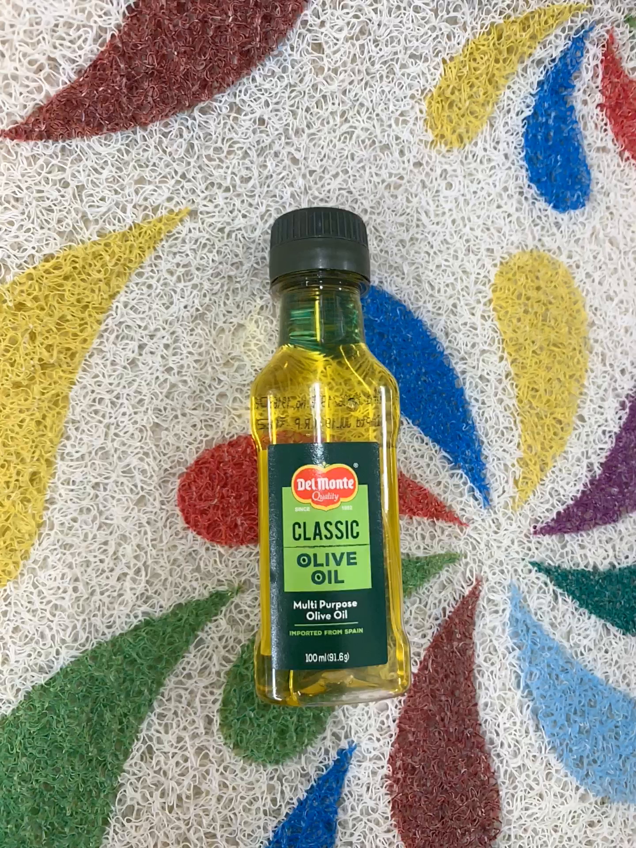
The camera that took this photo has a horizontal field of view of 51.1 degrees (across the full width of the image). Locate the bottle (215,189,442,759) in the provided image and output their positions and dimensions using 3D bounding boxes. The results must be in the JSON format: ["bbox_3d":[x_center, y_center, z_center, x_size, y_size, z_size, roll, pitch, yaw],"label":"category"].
[{"bbox_3d":[0.001,0.012,0.178,0.050,0.040,0.130,1,89,-15],"label":"bottle"}]
